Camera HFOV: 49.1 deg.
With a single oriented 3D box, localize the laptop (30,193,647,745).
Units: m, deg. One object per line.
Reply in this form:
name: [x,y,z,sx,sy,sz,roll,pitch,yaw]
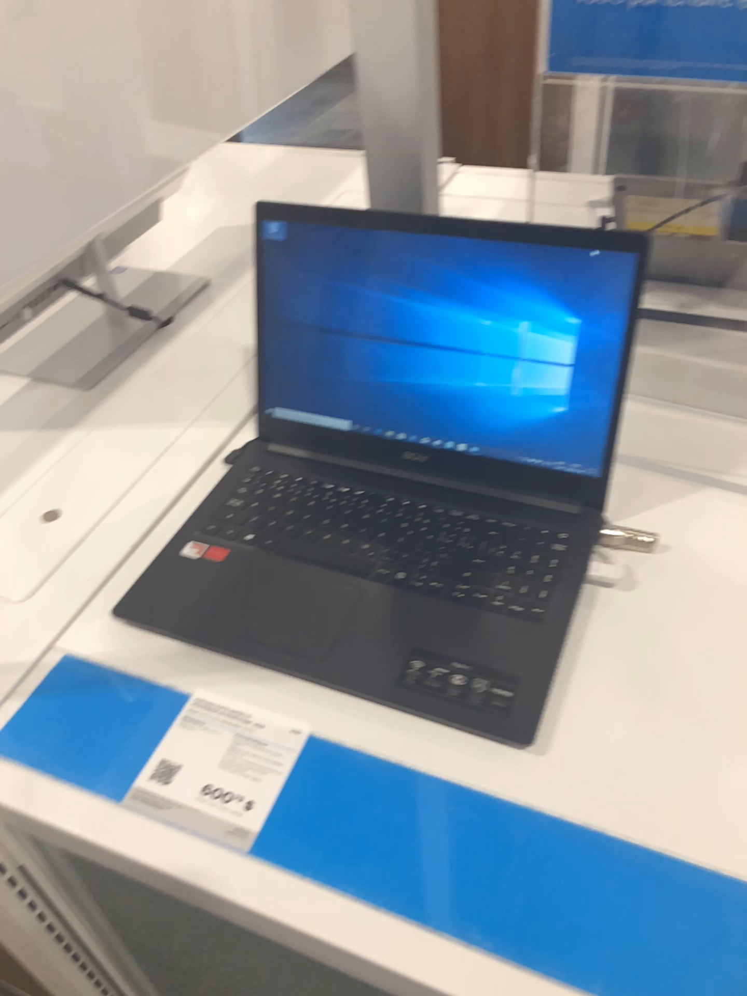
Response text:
laptop: [-0.001,-0.061,0.693,0.367,0.211,0.351,13,47,21]
